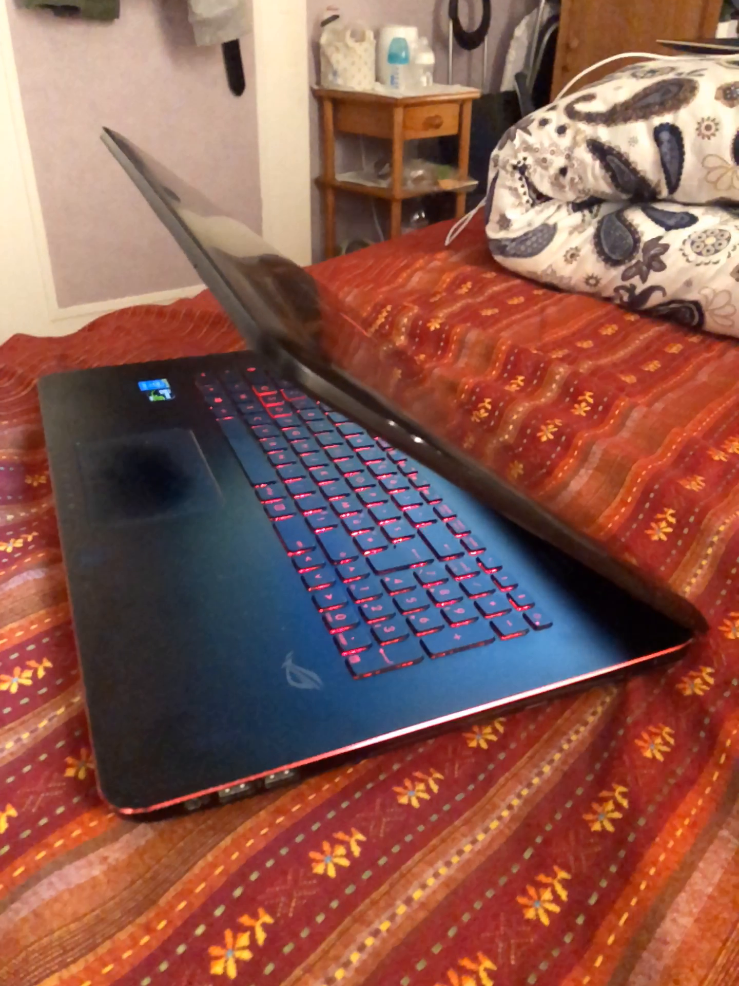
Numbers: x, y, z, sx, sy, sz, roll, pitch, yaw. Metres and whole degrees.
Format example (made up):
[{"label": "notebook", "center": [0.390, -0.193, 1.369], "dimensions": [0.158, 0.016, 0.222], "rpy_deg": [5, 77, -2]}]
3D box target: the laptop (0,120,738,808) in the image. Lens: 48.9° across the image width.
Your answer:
[{"label": "laptop", "center": [-0.041, -0.083, 0.450], "dimensions": [0.268, 0.168, 0.400], "rpy_deg": [-10, 34, -20]}]
